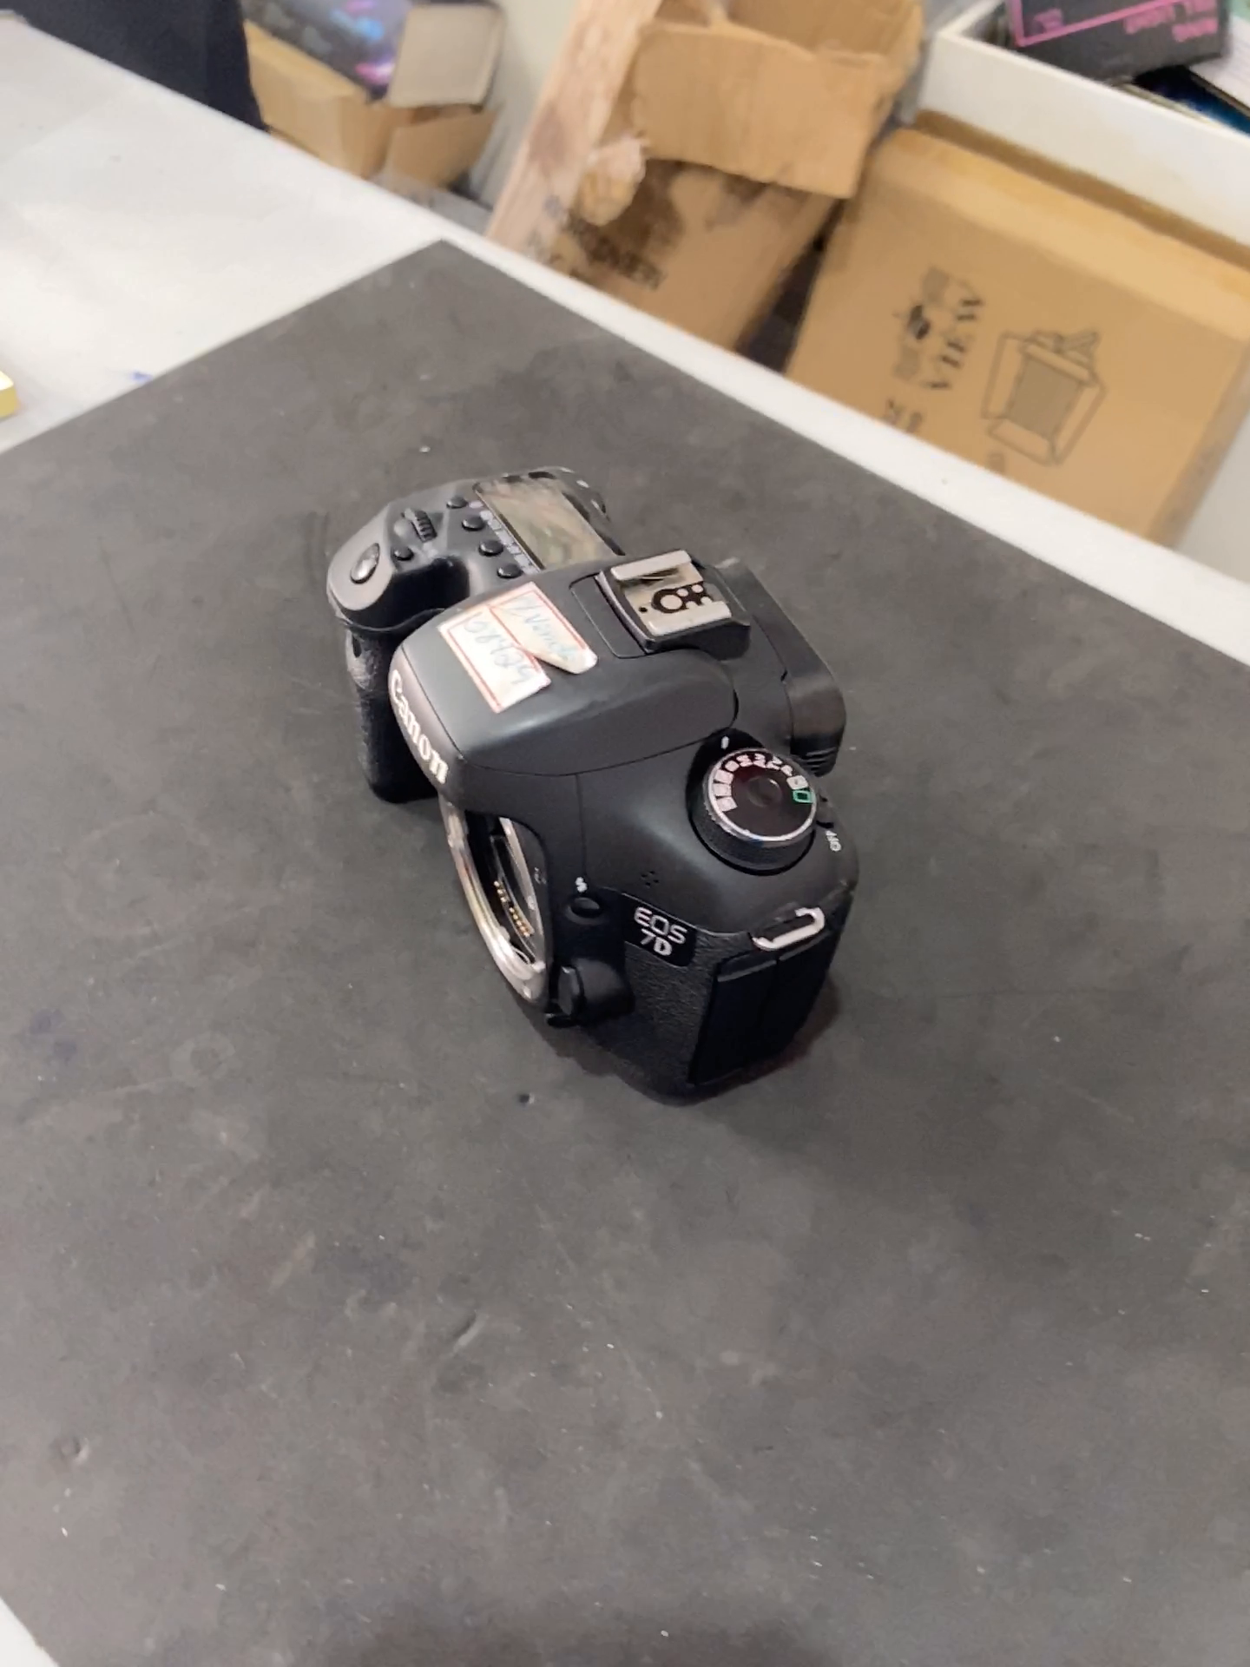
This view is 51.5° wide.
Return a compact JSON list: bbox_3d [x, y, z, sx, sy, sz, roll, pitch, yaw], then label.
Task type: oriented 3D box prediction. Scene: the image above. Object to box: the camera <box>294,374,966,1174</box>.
[{"bbox_3d":[-0.010,-0.020,0.318,0.083,0.101,0.152,-21,56,-21],"label":"camera"}]
